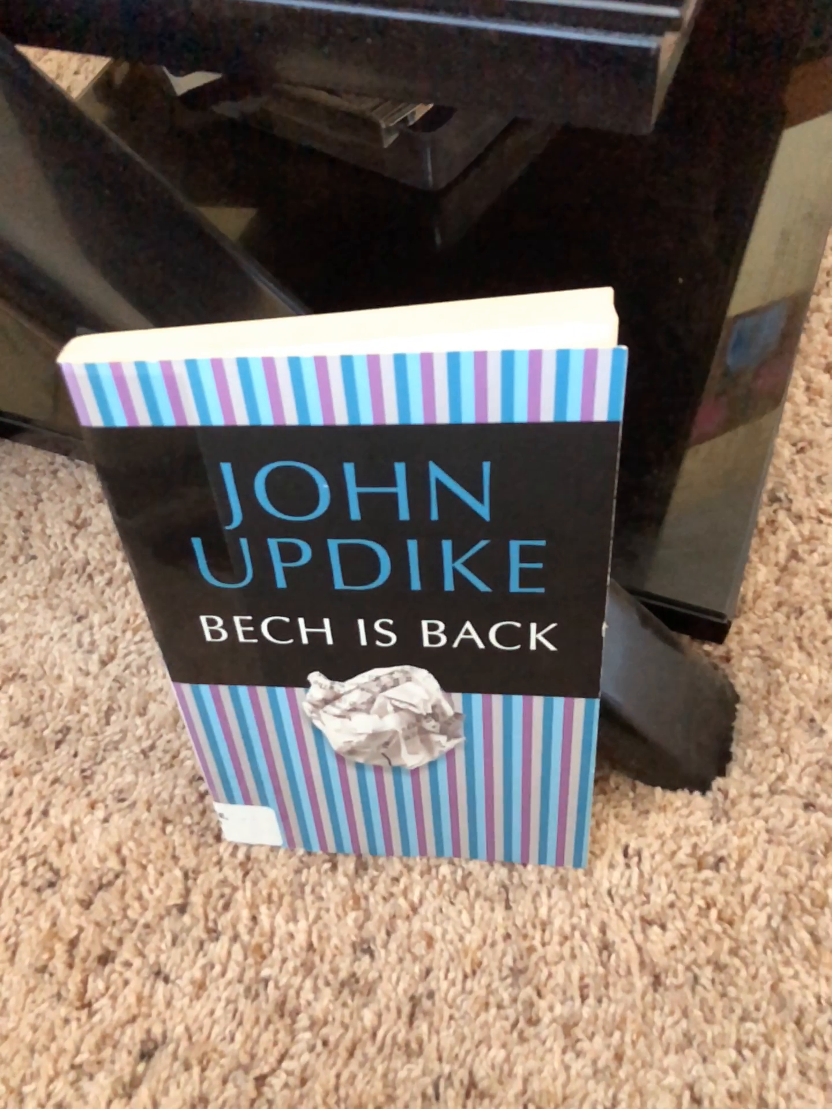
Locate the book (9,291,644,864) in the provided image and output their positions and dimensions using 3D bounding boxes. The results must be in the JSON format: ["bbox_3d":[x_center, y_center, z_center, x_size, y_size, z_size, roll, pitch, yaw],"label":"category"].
[{"bbox_3d":[-0.011,0.026,0.271,0.135,0.201,0.030,-1,43,7],"label":"book"}]
